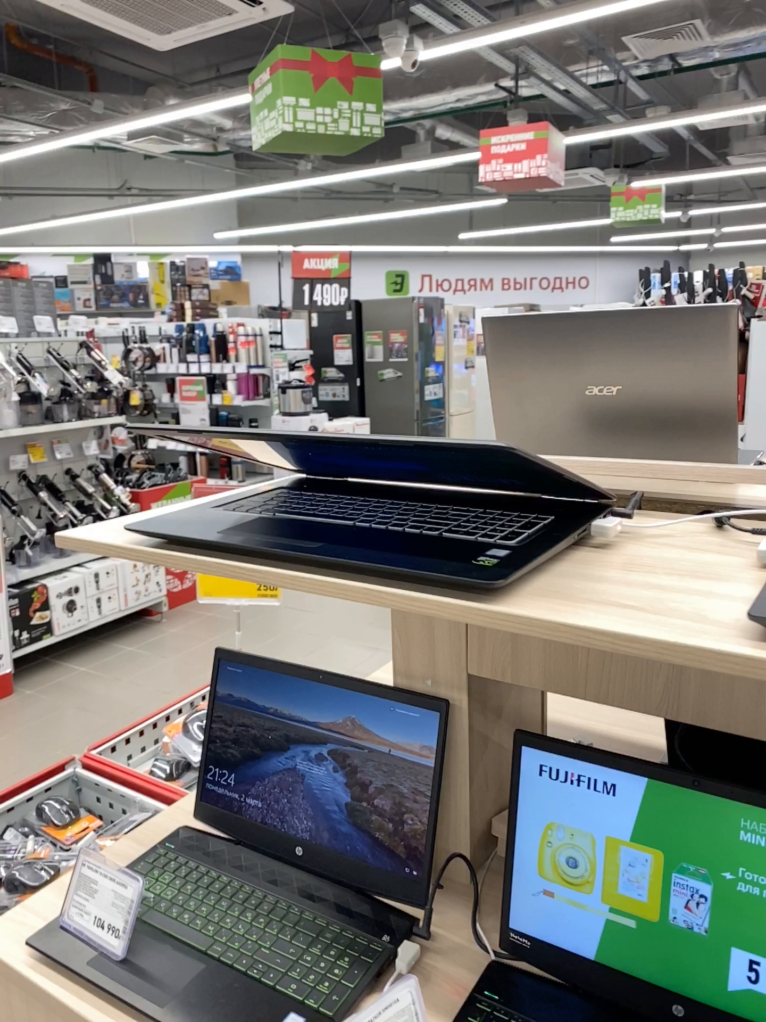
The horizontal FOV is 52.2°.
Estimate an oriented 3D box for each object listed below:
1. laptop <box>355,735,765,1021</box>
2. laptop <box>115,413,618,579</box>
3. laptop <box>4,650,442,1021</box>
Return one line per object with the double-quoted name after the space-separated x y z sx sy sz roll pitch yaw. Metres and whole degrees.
0.215 0.379 0.609 0.354 0.226 0.299 5 12 32 "laptop"
-0.015 -0.037 0.762 0.404 0.084 0.271 5 15 33 "laptop"
-0.159 0.341 0.864 0.344 0.220 0.314 6 13 30 "laptop"
